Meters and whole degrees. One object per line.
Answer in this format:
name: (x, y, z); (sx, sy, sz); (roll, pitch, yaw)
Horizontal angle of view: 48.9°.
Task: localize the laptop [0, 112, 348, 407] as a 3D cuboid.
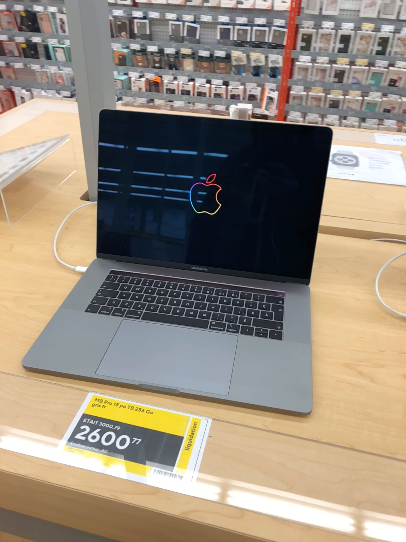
laptop: (-0.017, -0.040, 0.566); (0.329, 0.212, 0.299); (7, 35, 7)
